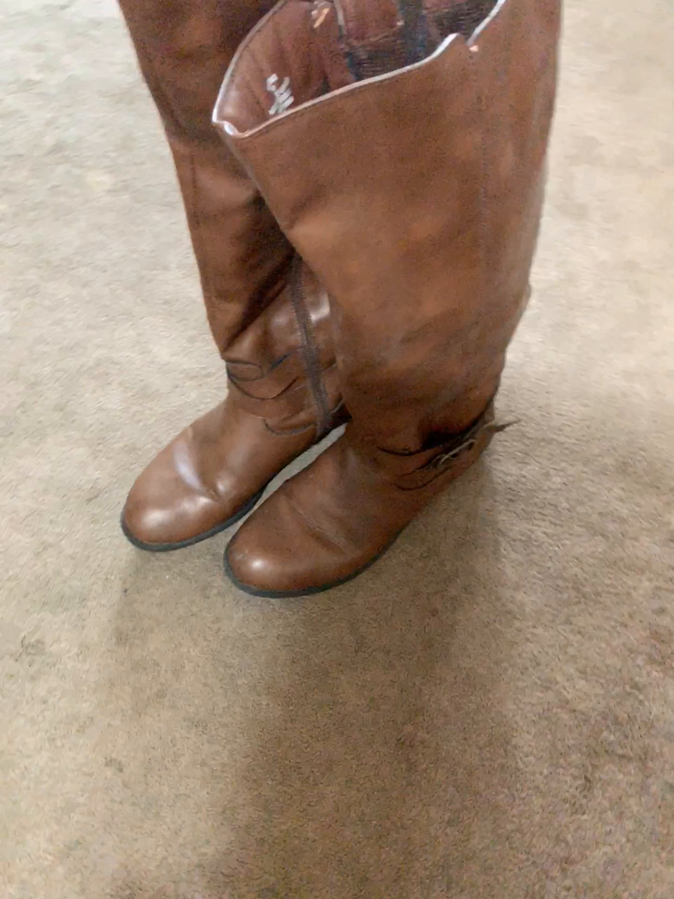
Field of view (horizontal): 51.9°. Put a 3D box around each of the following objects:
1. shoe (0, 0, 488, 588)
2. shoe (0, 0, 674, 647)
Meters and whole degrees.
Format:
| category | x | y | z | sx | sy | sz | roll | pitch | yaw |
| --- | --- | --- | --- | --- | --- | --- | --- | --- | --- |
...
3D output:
| category | x | y | z | sx | sy | sz | roll | pitch | yaw |
| --- | --- | --- | --- | --- | --- | --- | --- | --- | --- |
| shoe | -0.070 | -0.088 | 0.410 | 0.261 | 0.368 | 0.110 | -38 | 69 | -14 |
| shoe | 0.023 | -0.045 | 0.407 | 0.270 | 0.398 | 0.120 | -31 | 67 | -11 |
